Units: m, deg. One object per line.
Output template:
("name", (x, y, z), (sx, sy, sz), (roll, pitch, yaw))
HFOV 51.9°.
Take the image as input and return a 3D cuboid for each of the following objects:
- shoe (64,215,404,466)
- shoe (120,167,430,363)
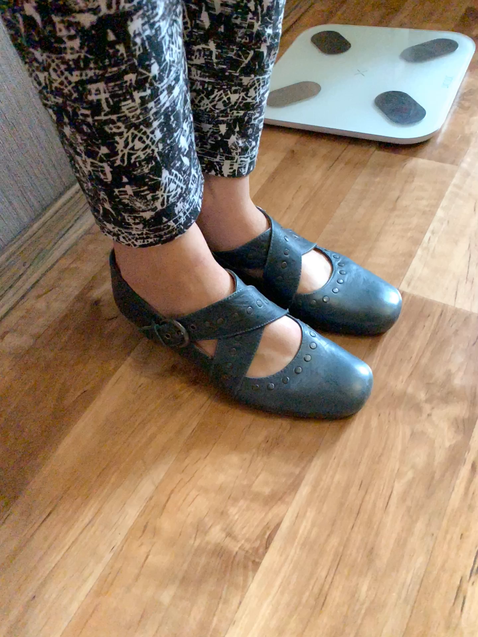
("shoe", (-0.006, 0.010, 0.399), (0.240, 0.100, 0.090), (20, 59, 24))
("shoe", (0.031, -0.056, 0.459), (0.250, 0.100, 0.090), (15, 57, 21))
